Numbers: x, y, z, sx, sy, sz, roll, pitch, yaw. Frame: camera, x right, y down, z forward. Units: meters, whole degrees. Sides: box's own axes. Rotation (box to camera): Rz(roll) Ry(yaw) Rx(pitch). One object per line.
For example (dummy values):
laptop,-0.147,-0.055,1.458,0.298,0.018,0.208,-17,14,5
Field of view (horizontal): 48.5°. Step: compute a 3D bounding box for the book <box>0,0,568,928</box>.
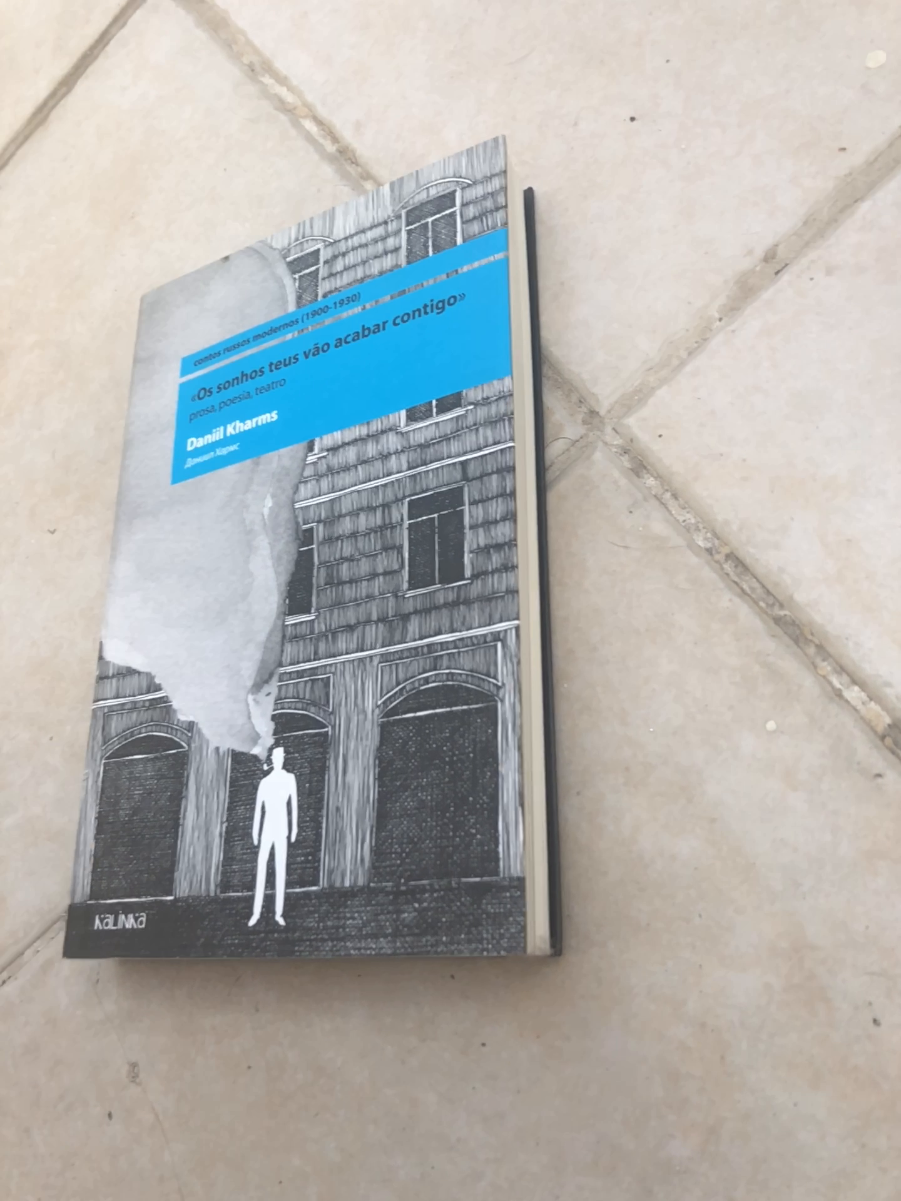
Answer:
book,-0.043,-0.025,0.203,0.120,0.040,0.170,-11,67,28
